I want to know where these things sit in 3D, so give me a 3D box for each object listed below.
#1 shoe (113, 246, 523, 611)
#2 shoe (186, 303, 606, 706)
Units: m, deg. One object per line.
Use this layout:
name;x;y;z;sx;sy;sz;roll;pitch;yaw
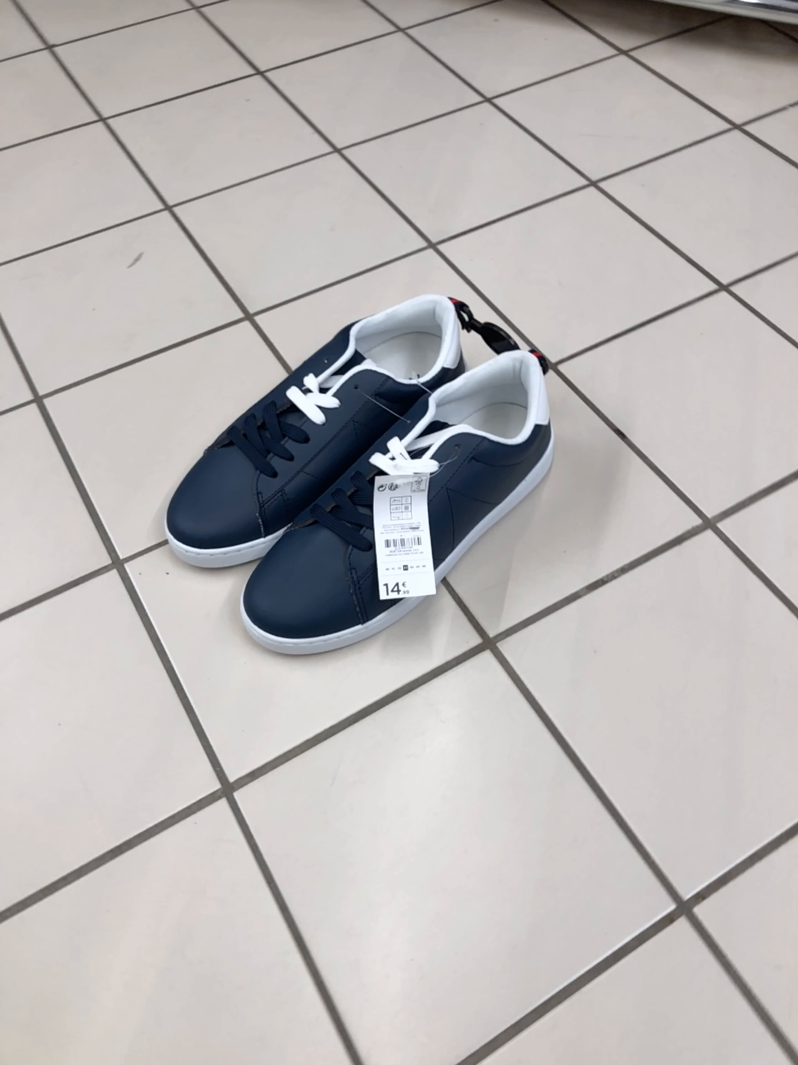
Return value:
shoe;-0.047;-0.086;0.653;0.291;0.100;0.100;-38;62;-23
shoe;0.009;-0.029;0.613;0.100;0.100;0.291;38;63;25
